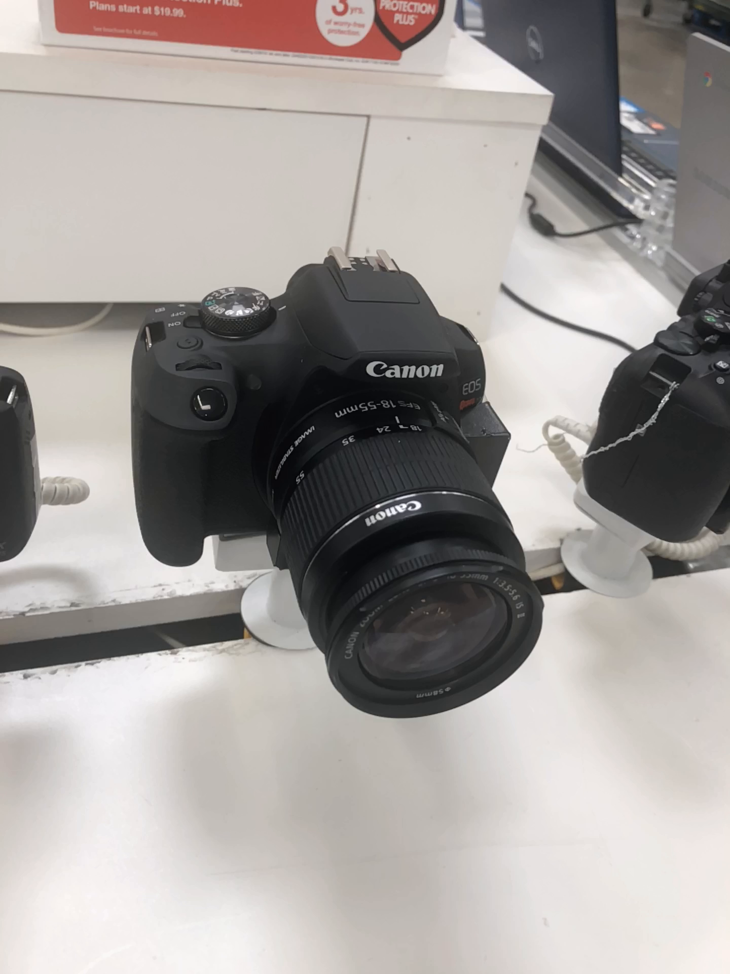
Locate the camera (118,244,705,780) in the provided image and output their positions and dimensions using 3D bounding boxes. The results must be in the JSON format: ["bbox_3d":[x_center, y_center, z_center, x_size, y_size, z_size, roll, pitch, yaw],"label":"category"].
[{"bbox_3d":[-0.002,-0.005,0.260,0.130,0.092,0.132,-6,43,-20],"label":"camera"}]
